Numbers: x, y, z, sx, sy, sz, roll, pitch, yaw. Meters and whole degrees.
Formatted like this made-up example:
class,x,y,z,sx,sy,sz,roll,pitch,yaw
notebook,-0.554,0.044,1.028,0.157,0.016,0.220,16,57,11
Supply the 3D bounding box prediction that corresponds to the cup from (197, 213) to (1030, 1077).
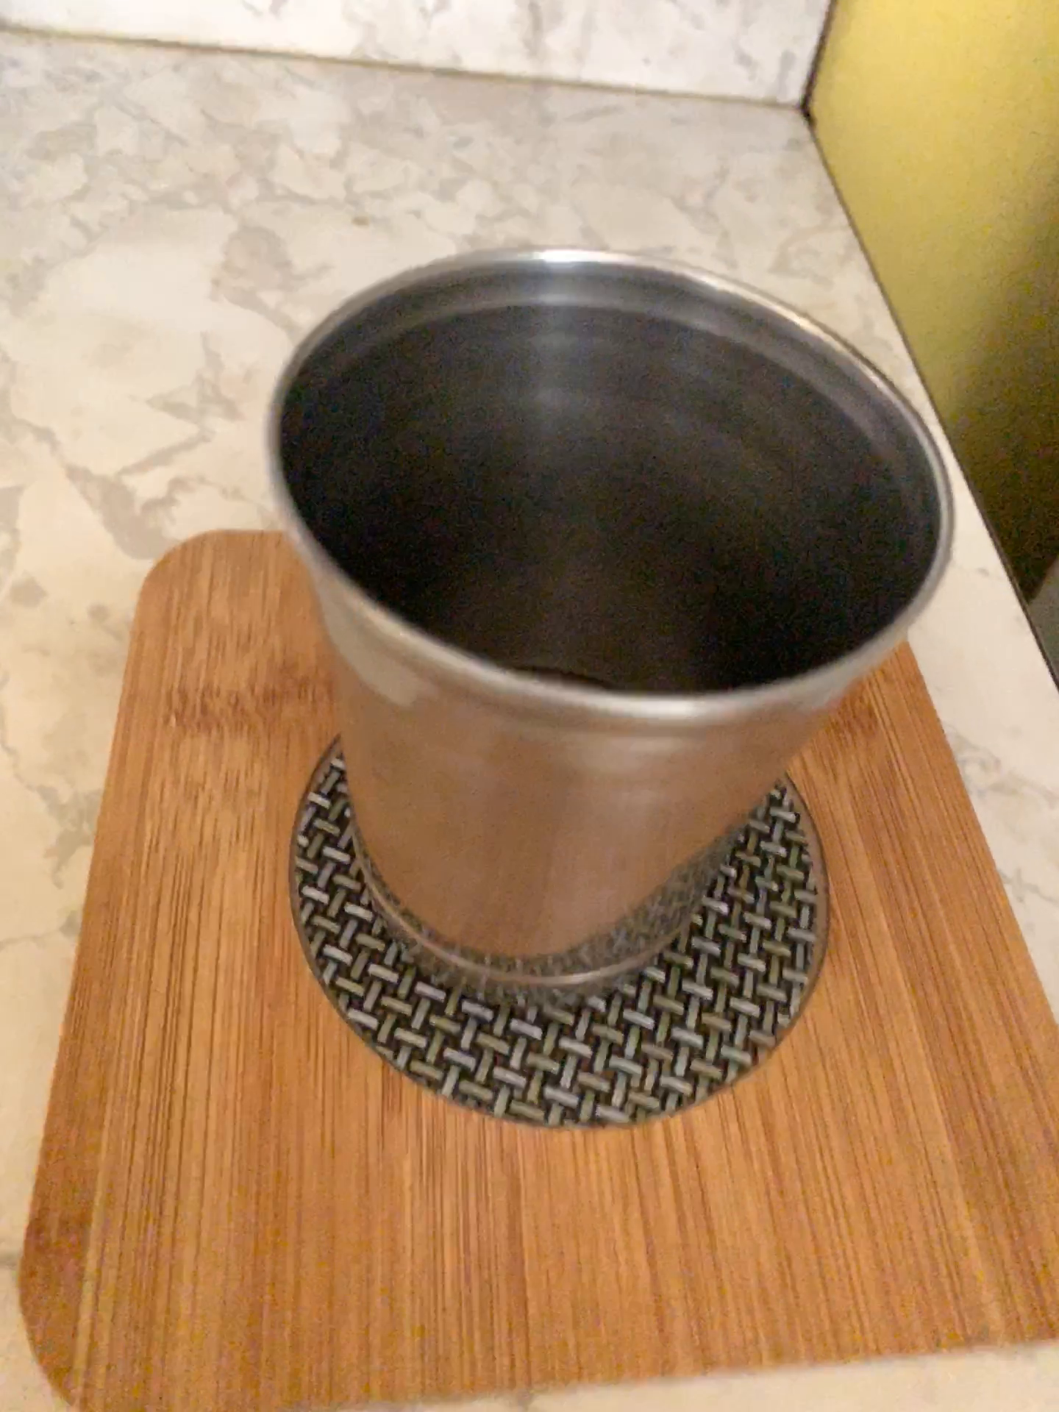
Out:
class,x,y,z,sx,sy,sz,roll,pitch,yaw
cup,0.003,-0.003,0.150,0.070,0.091,0.073,3,50,-4
